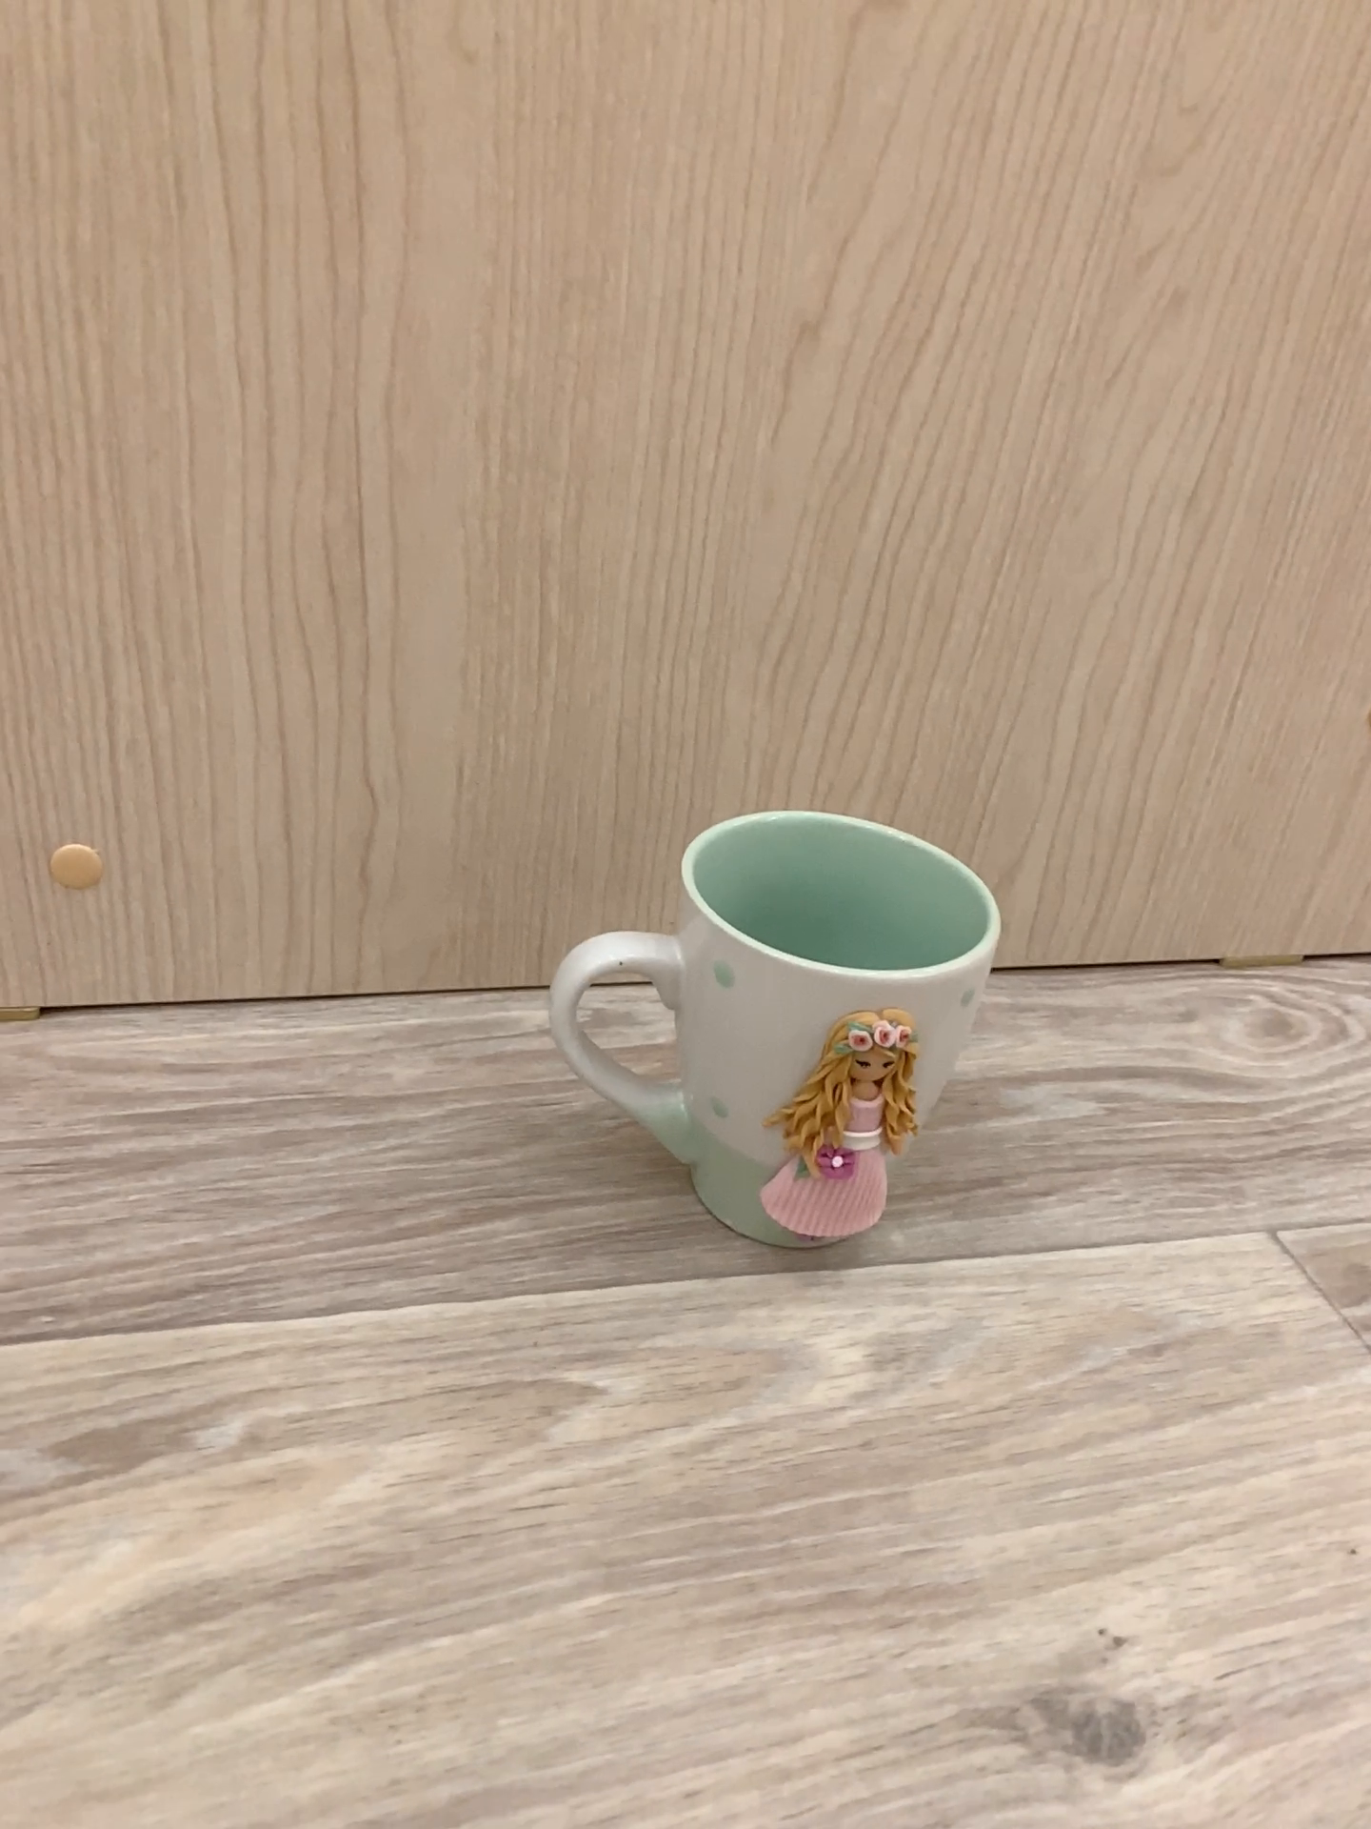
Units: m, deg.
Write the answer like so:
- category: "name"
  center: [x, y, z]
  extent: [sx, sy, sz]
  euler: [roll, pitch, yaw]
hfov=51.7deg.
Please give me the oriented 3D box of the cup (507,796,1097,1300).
- category: "cup"
  center: [0.020, 0.028, 0.351]
  extent: [0.111, 0.080, 0.093]
  euler: [-1, 30, -16]
